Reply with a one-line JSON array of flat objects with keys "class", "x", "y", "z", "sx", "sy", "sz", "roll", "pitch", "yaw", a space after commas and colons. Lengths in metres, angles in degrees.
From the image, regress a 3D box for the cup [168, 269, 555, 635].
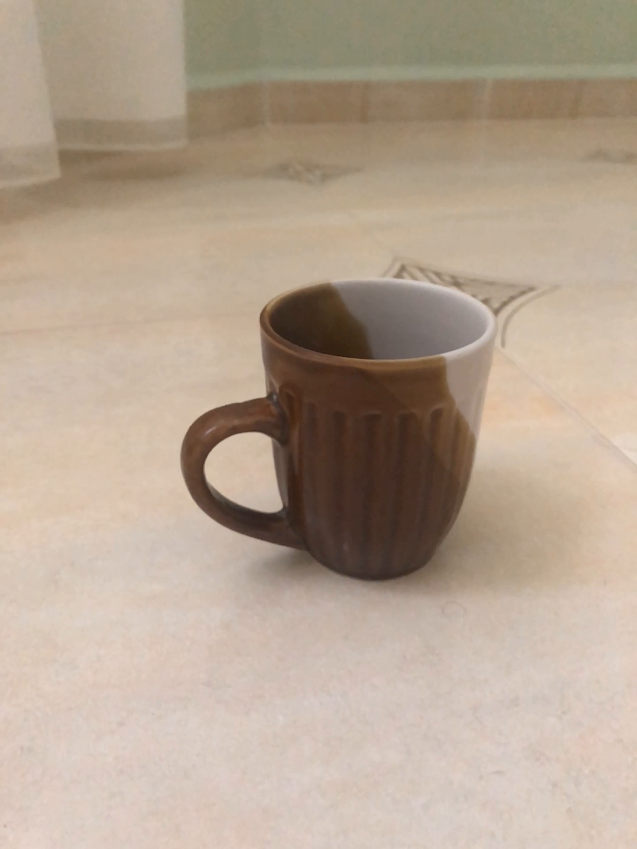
[{"class": "cup", "x": 0.007, "y": 0.004, "z": 0.239, "sx": 0.103, "sy": 0.086, "sz": 0.076, "roll": -5, "pitch": 29, "yaw": -9}]
